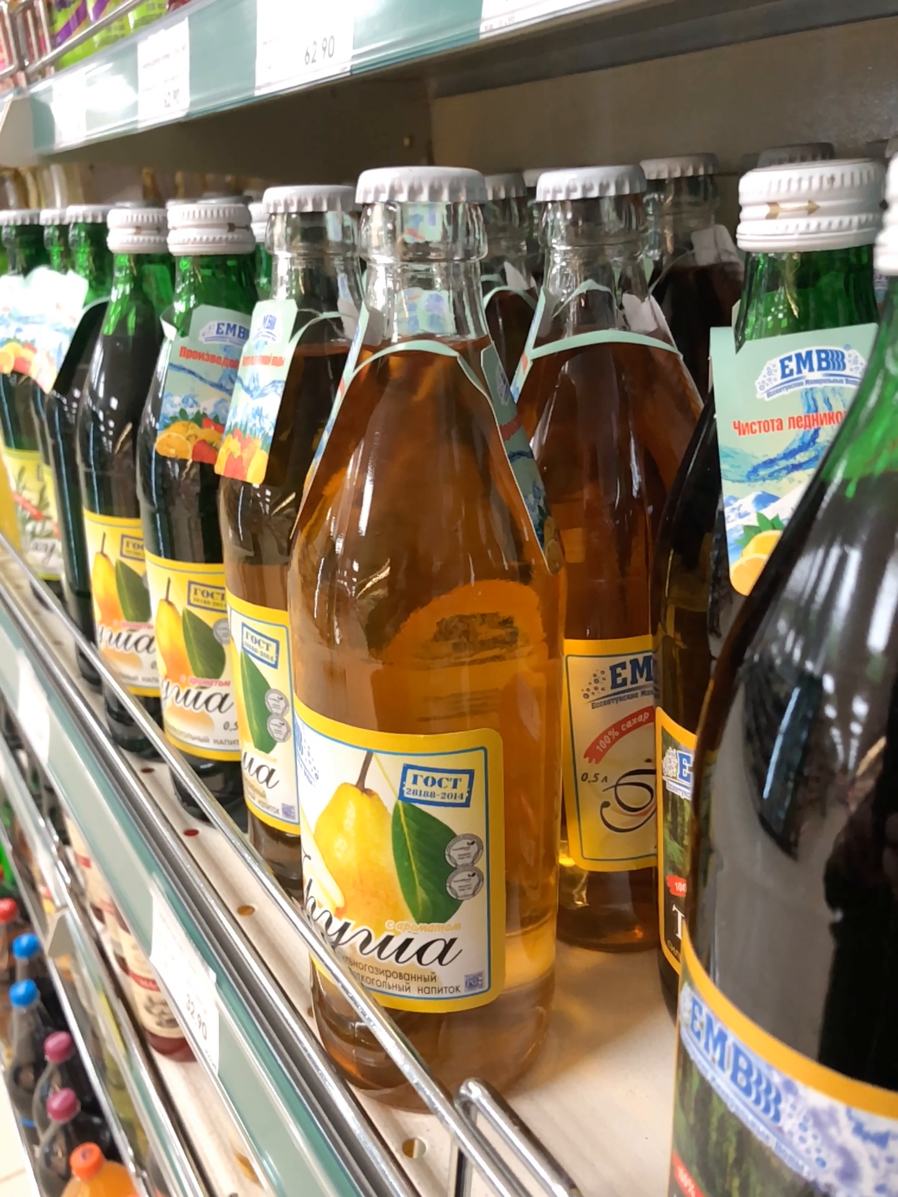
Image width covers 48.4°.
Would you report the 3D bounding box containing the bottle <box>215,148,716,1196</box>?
[{"bbox_3d":[0.005,0.019,0.248,0.070,0.234,0.080,-16,25,-32],"label":"bottle"}]
